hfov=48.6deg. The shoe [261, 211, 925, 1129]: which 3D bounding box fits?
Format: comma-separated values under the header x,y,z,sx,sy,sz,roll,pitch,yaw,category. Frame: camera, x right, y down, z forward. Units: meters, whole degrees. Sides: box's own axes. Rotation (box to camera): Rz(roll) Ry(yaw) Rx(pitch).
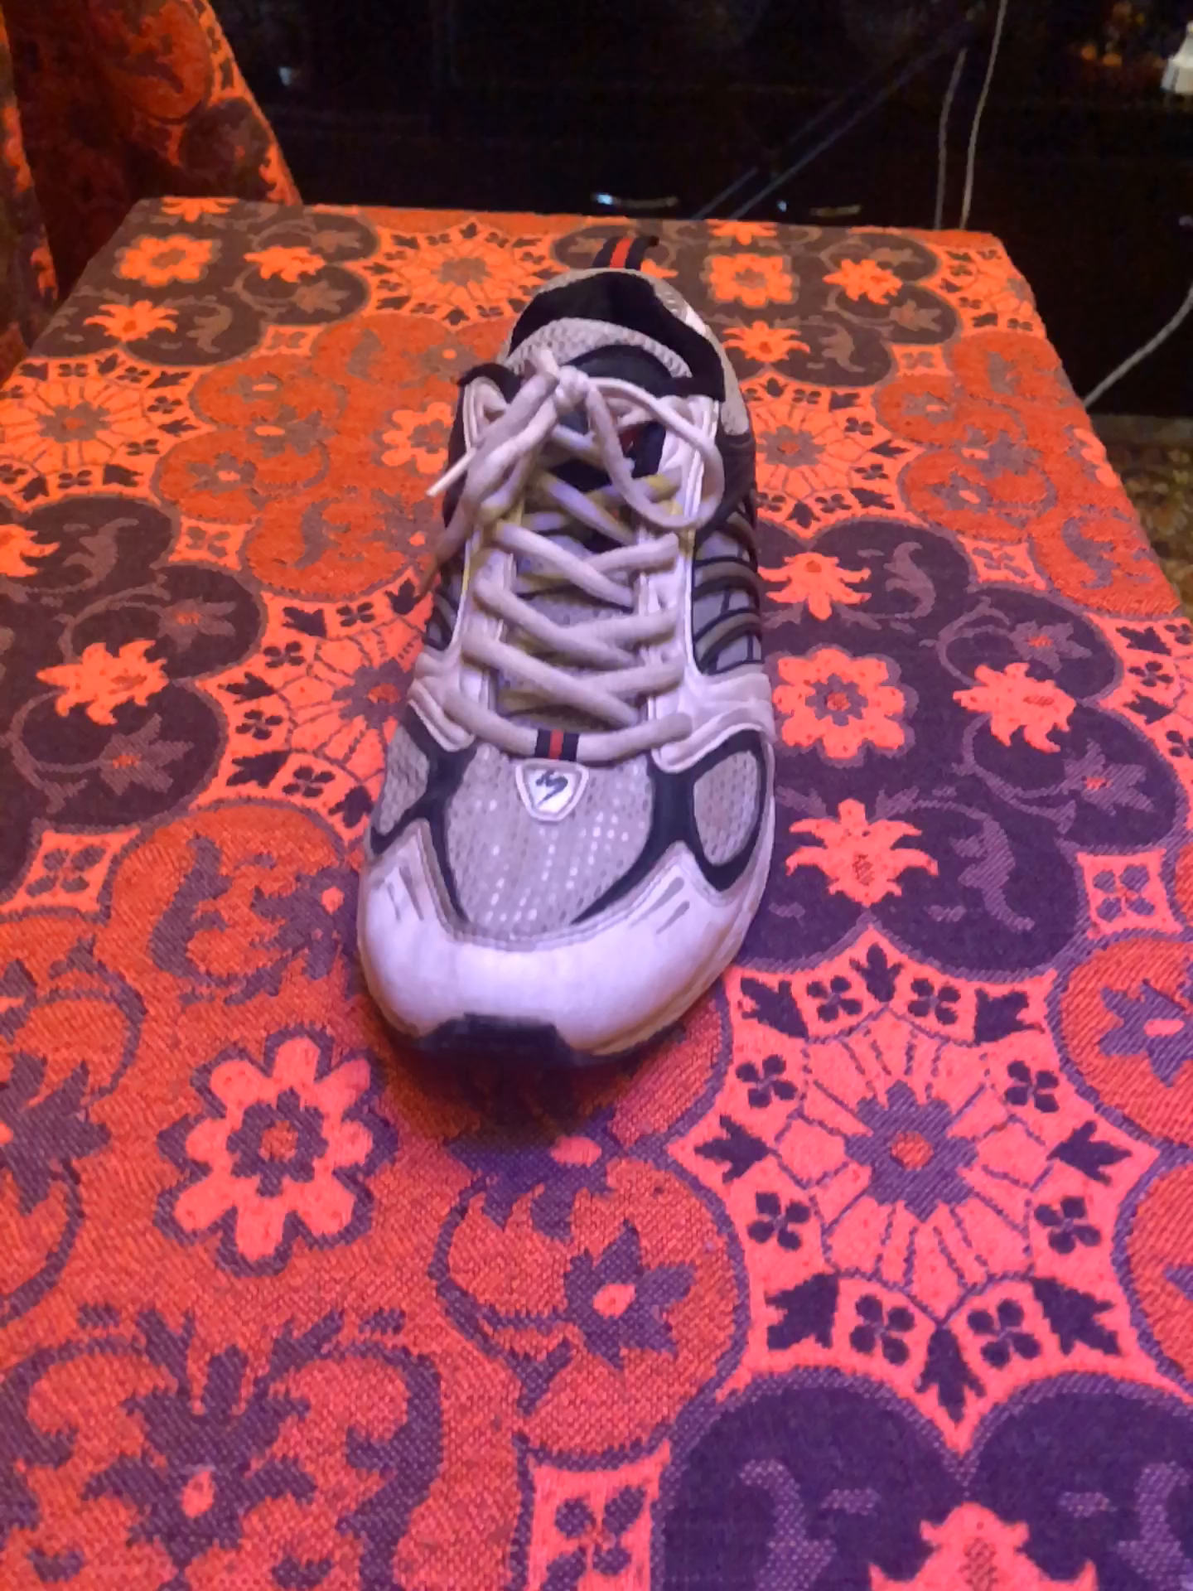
x,y,z,sx,sy,sz,roll,pitch,yaw,category
0.003,-0.065,0.383,0.120,0.089,0.312,2,43,1,shoe
